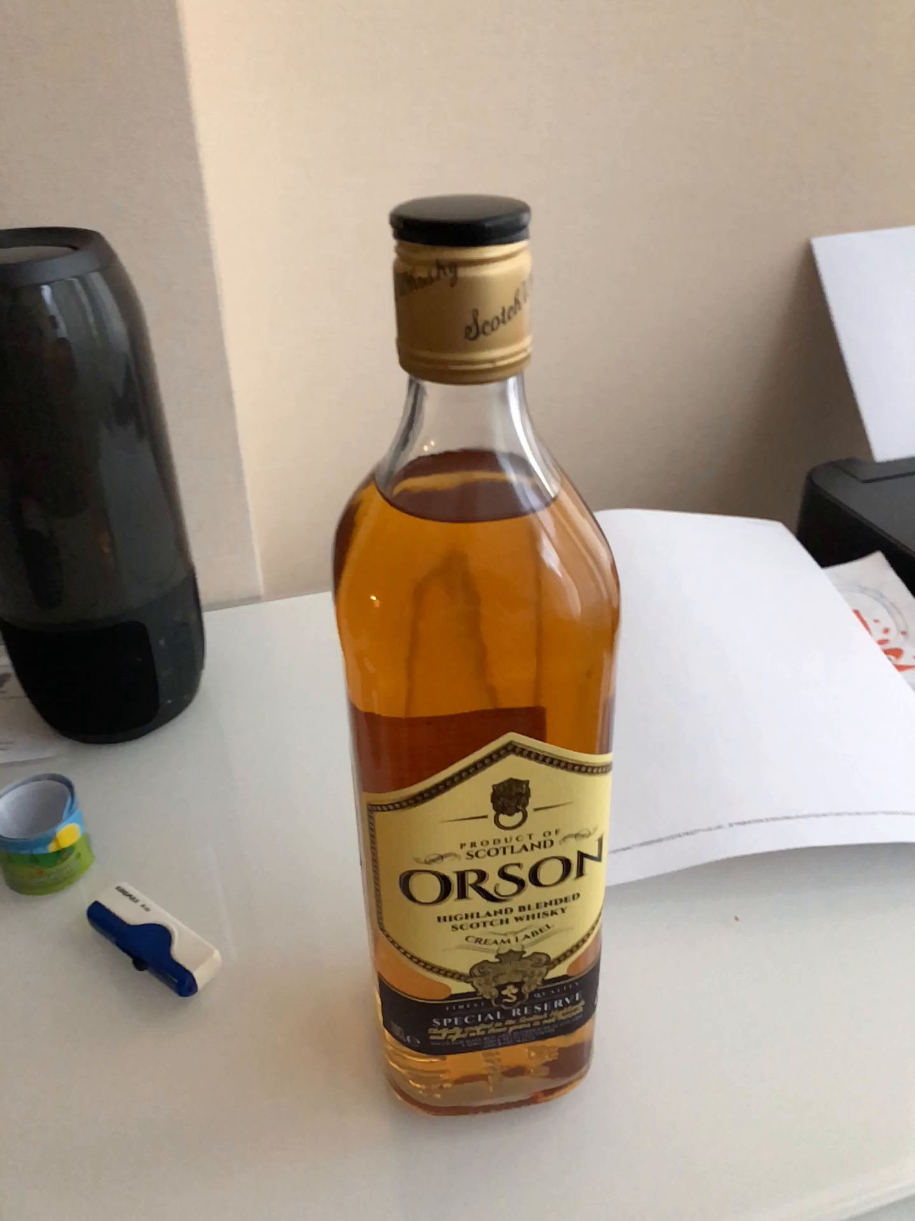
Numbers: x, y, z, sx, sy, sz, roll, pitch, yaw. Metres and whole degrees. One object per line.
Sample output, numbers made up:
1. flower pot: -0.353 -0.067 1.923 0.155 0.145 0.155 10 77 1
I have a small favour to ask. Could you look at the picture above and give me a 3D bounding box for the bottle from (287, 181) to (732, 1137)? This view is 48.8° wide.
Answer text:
1. bottle: 0.009 0.029 0.275 0.080 0.258 0.070 -5 31 -5
